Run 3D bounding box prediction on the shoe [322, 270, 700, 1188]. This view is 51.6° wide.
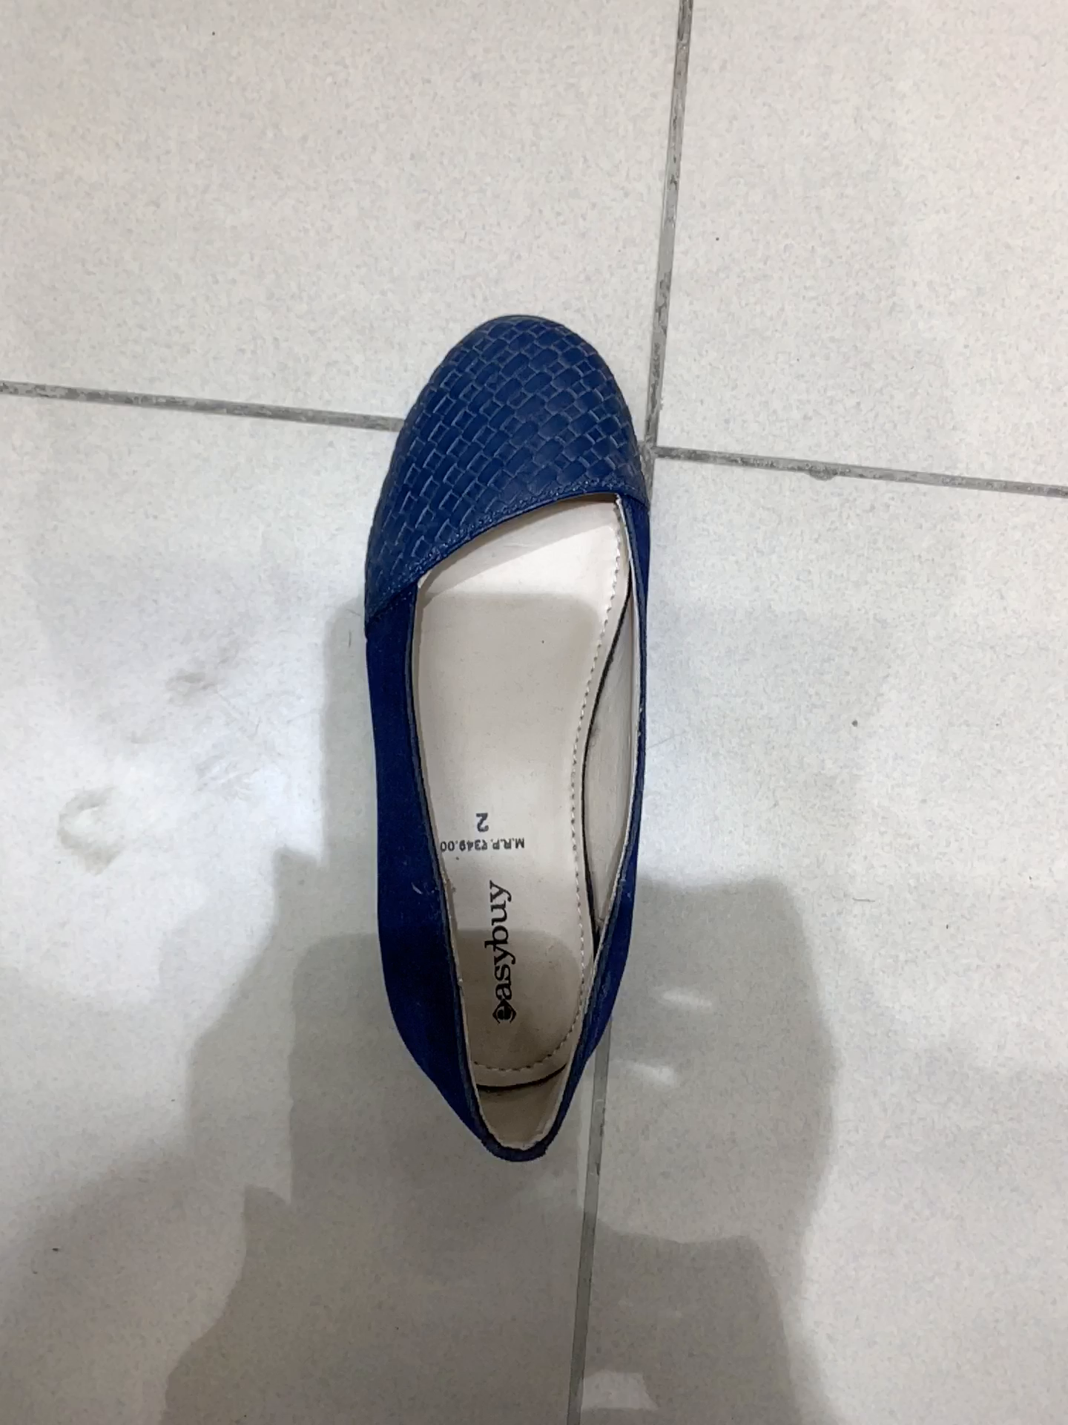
[{"bbox_3d":[-0.007,0.003,0.297,0.090,0.060,0.220,0,89,-3],"label":"shoe"}]
